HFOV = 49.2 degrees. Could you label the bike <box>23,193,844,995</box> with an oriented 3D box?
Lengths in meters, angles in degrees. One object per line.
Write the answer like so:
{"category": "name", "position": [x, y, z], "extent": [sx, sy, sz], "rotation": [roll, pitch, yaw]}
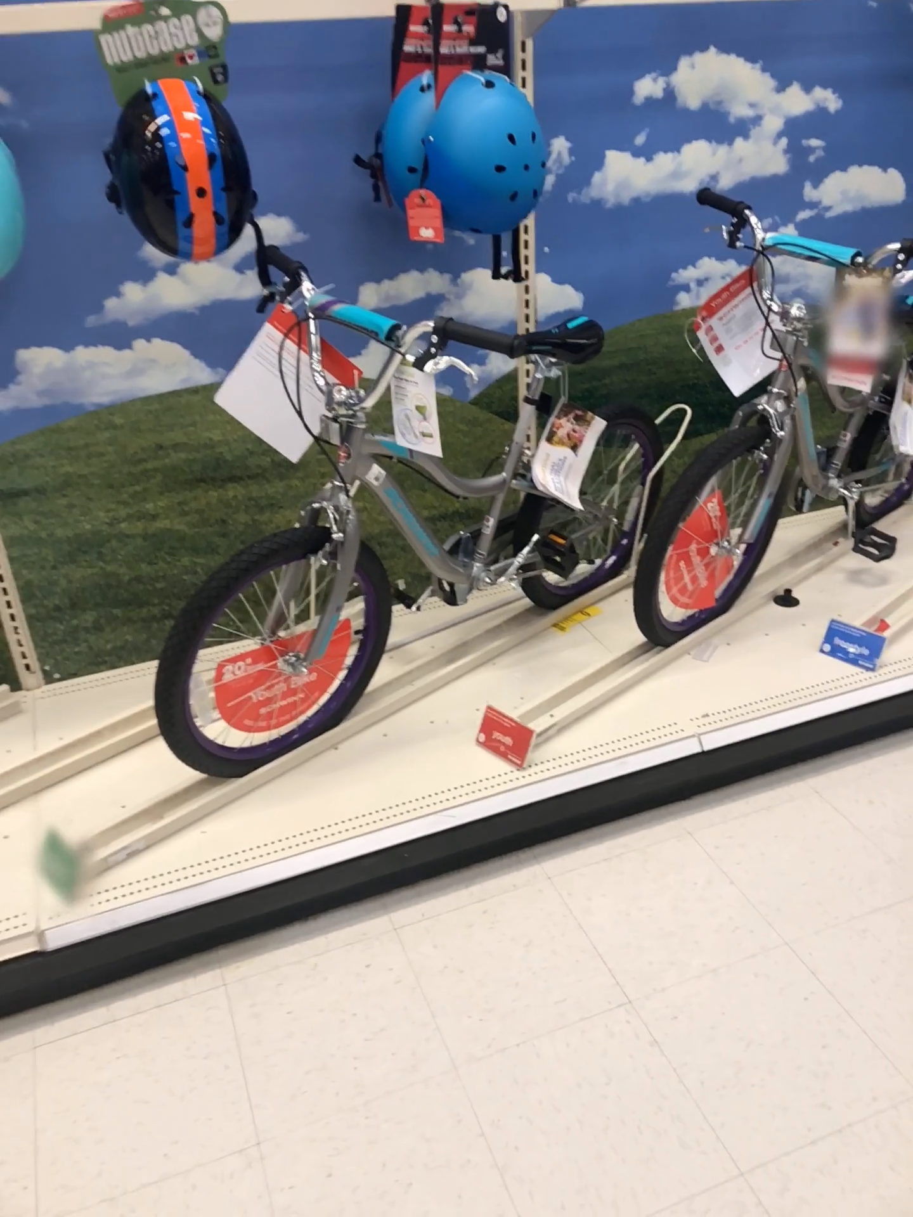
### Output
{"category": "bike", "position": [0.040, -0.175, 1.914], "extent": [1.323, 0.878, 0.651], "rotation": [-29, 38, -34]}
